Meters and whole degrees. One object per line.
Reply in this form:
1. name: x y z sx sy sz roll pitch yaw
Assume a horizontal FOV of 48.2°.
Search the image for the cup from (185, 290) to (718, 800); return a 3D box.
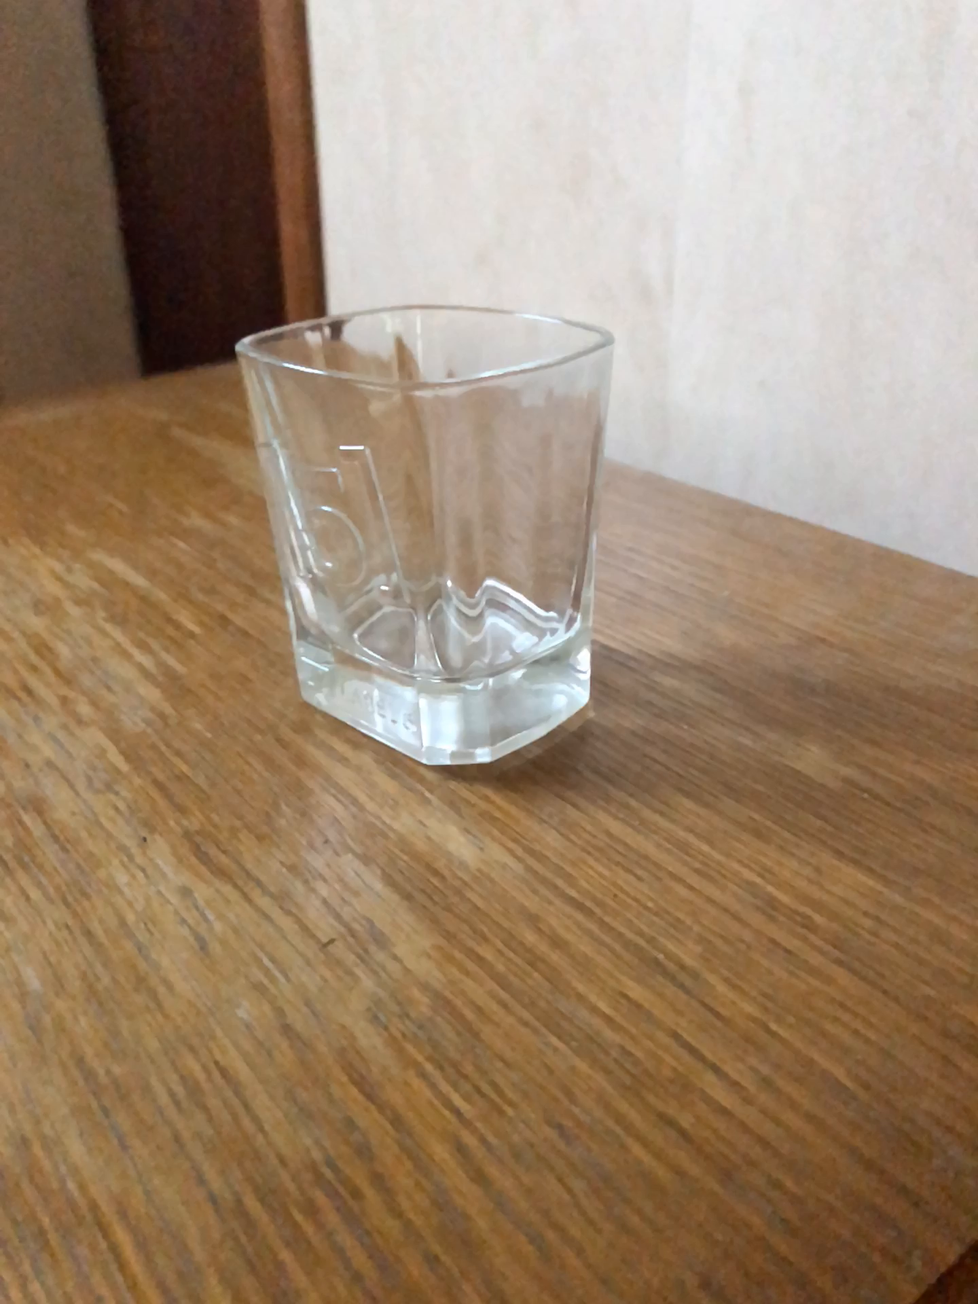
1. cup: -0.007 -0.028 0.219 0.070 0.070 0.070 0 27 0
